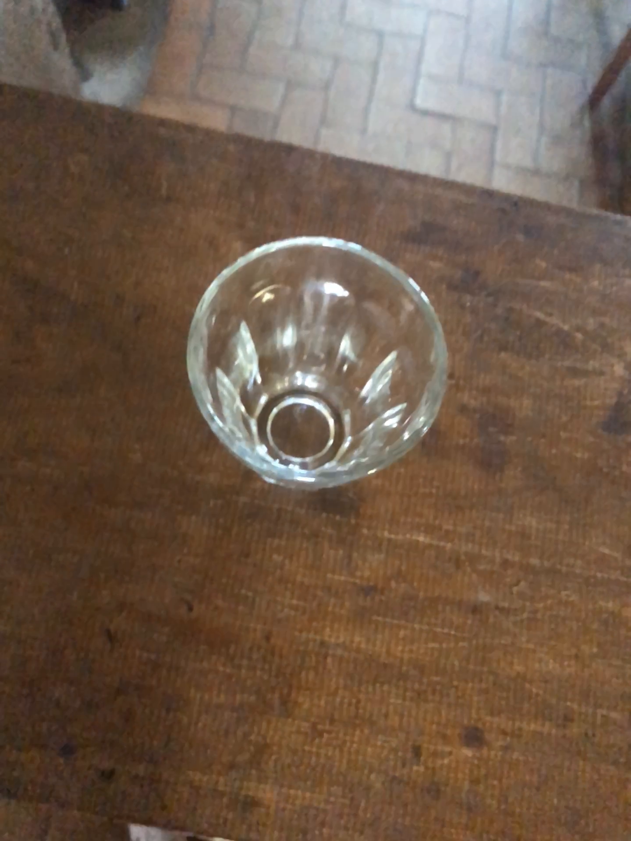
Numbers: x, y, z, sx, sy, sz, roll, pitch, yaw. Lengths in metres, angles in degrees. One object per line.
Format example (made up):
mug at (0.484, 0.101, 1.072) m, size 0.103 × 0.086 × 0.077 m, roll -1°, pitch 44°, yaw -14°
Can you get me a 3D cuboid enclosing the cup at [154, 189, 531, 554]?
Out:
cup at (0.004, -0.010, 0.227) m, size 0.080 × 0.080 × 0.070 m, roll -21°, pitch 76°, yaw -12°
